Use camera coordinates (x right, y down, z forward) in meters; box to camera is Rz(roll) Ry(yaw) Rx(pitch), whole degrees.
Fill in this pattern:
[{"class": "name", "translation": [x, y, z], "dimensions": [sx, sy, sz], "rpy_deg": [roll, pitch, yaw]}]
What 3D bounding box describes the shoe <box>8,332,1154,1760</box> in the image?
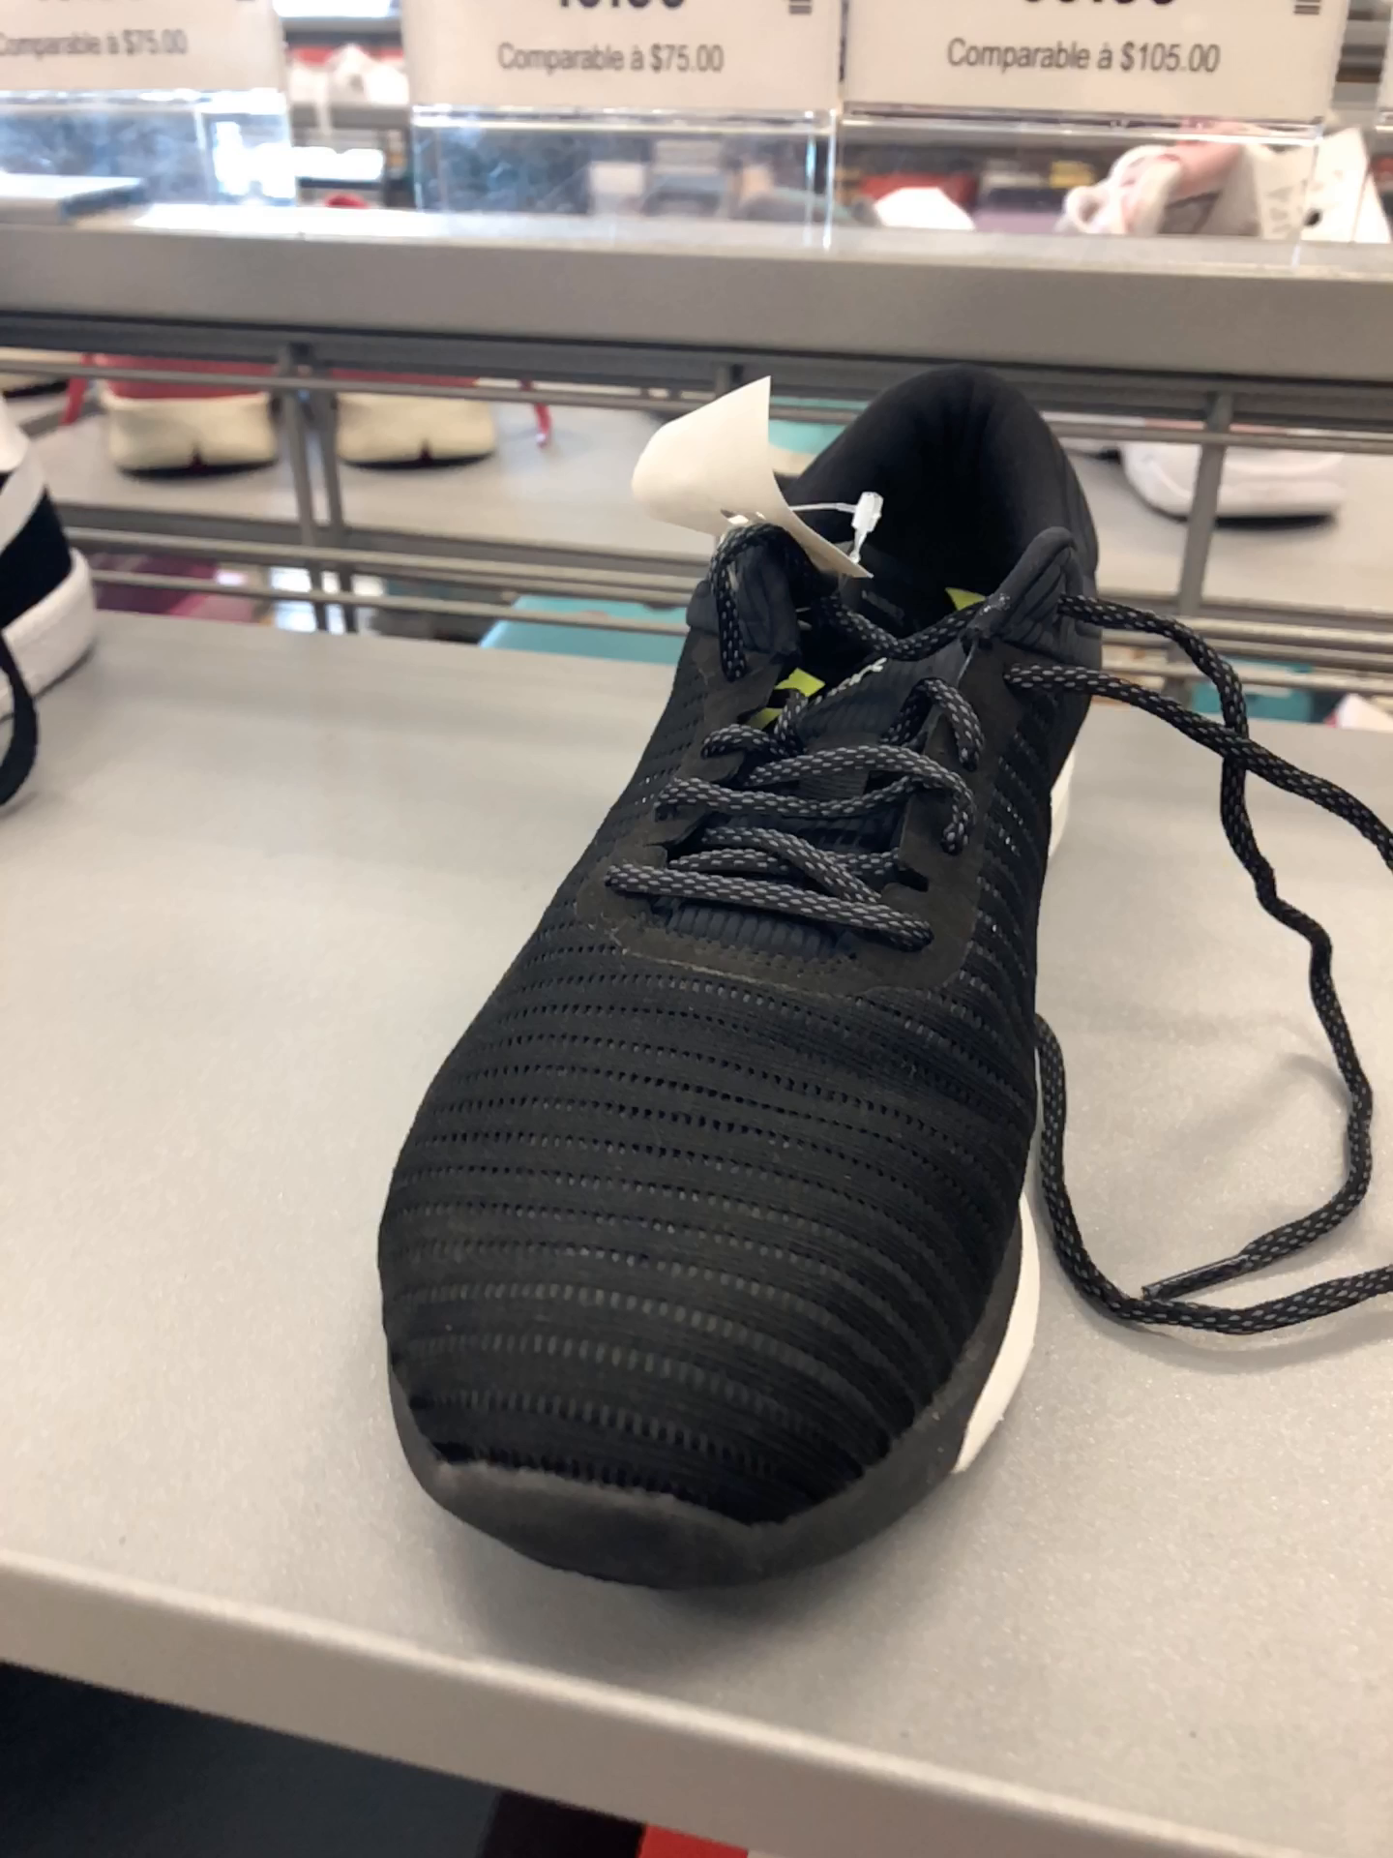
[{"class": "shoe", "translation": [0.020, -0.026, 0.311], "dimensions": [0.120, 0.119, 0.302], "rpy_deg": [7, 32, 12]}]
